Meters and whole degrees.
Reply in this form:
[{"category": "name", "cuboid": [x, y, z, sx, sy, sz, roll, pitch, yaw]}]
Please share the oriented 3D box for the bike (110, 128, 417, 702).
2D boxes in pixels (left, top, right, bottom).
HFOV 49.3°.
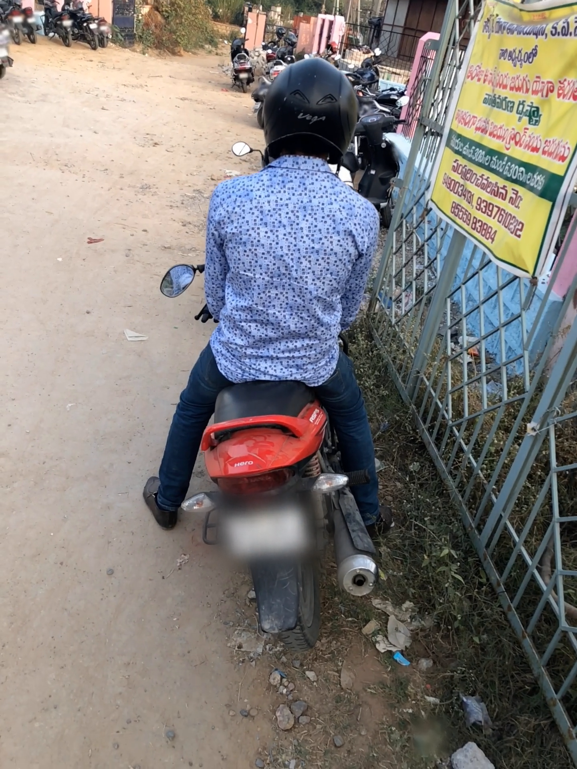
[{"category": "bike", "cuboid": [-0.244, -0.057, 2.236, 0.582, 1.176, 1.697, 4, 32, -12]}]
